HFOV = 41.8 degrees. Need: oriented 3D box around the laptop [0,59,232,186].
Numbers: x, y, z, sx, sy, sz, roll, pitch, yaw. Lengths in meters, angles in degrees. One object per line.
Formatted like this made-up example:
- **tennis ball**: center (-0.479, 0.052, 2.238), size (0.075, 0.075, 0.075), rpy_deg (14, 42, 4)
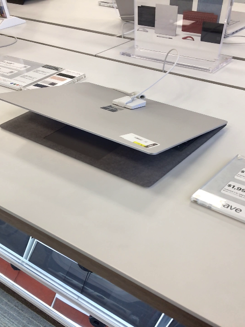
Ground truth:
- **laptop**: center (-0.023, -0.095, 0.572), size (0.319, 0.062, 0.226), rpy_deg (24, 46, 29)
